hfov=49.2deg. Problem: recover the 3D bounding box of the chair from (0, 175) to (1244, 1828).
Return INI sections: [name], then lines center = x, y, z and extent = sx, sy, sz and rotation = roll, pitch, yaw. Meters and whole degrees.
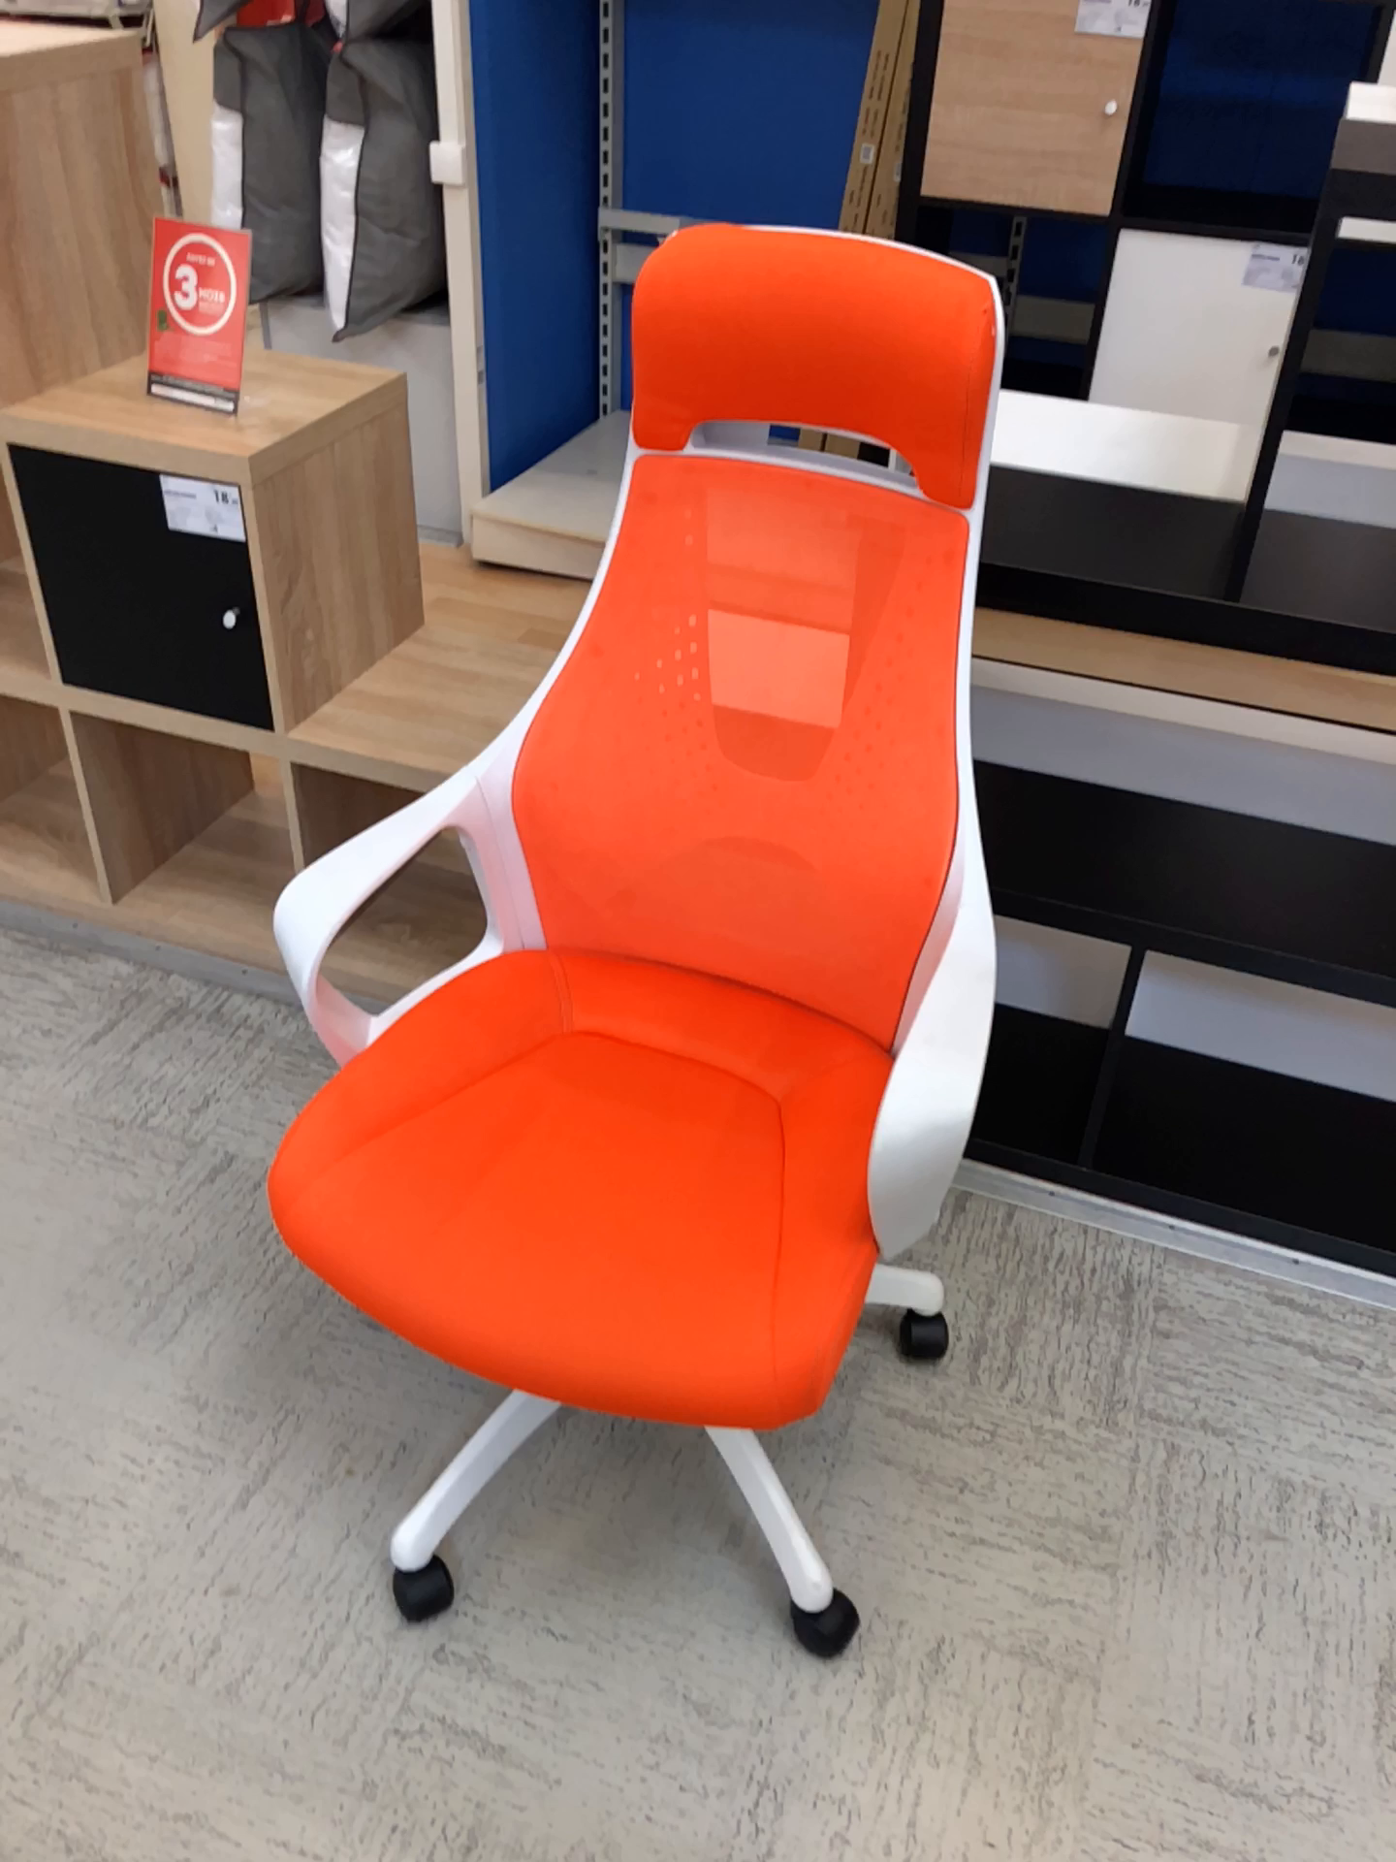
[chair]
center = -0.049, 0.014, 1.325
extent = 0.680, 1.053, 0.755
rotation = 16, 37, 18
